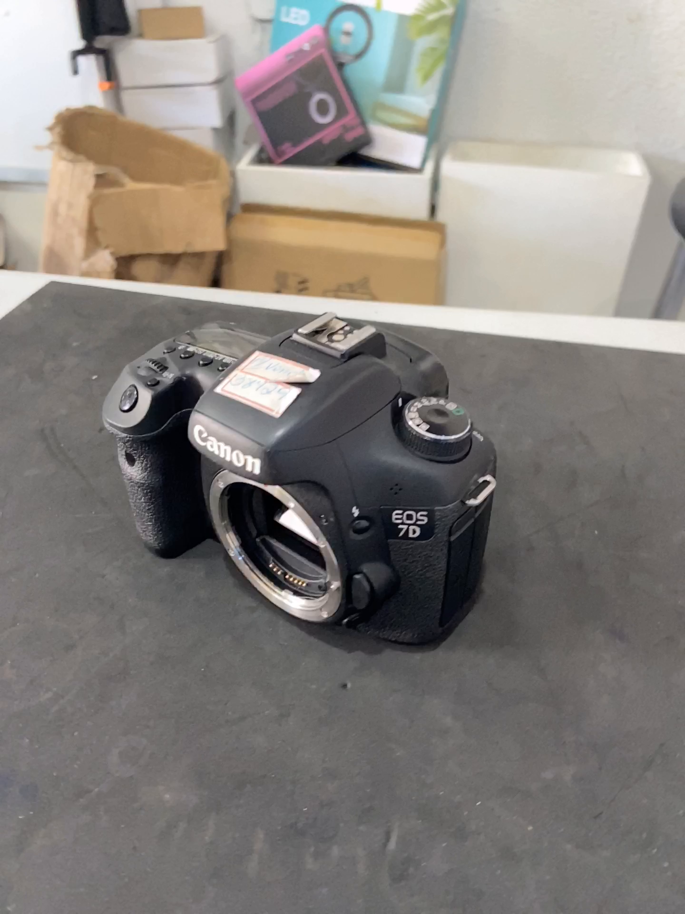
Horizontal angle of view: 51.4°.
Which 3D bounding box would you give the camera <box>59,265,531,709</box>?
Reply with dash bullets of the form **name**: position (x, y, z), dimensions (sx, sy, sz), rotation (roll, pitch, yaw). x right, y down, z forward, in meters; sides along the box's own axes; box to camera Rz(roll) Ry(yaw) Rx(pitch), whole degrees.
- **camera**: position (-0.020, 0.002, 0.286), dimensions (0.152, 0.101, 0.083), rotation (24, 44, 29)
